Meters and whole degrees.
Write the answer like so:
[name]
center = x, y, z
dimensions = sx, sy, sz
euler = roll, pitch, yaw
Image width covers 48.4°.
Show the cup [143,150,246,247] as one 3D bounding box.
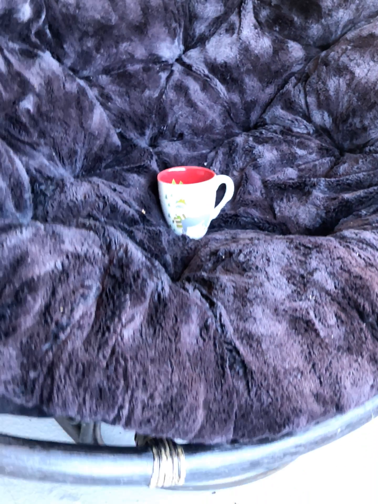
[cup]
center = 0.010, -0.097, 0.734
dimensions = 0.140, 0.110, 0.100
euler = -19, 36, -25
